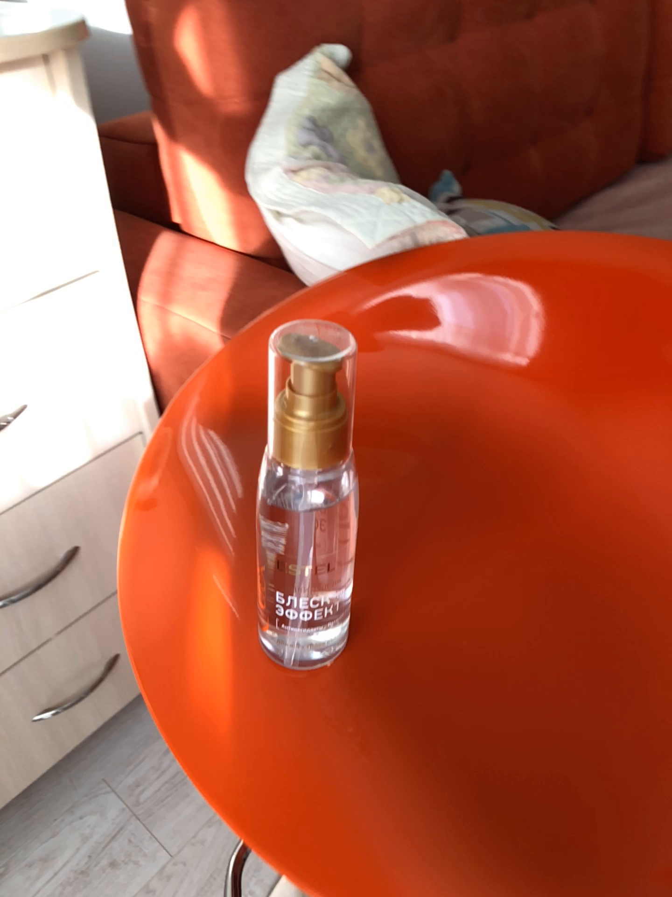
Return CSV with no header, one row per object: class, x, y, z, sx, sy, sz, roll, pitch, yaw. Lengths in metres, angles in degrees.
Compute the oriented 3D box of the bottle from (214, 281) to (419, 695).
bottle,-0.008,0.020,0.287,0.050,0.149,0.050,2,35,-1
